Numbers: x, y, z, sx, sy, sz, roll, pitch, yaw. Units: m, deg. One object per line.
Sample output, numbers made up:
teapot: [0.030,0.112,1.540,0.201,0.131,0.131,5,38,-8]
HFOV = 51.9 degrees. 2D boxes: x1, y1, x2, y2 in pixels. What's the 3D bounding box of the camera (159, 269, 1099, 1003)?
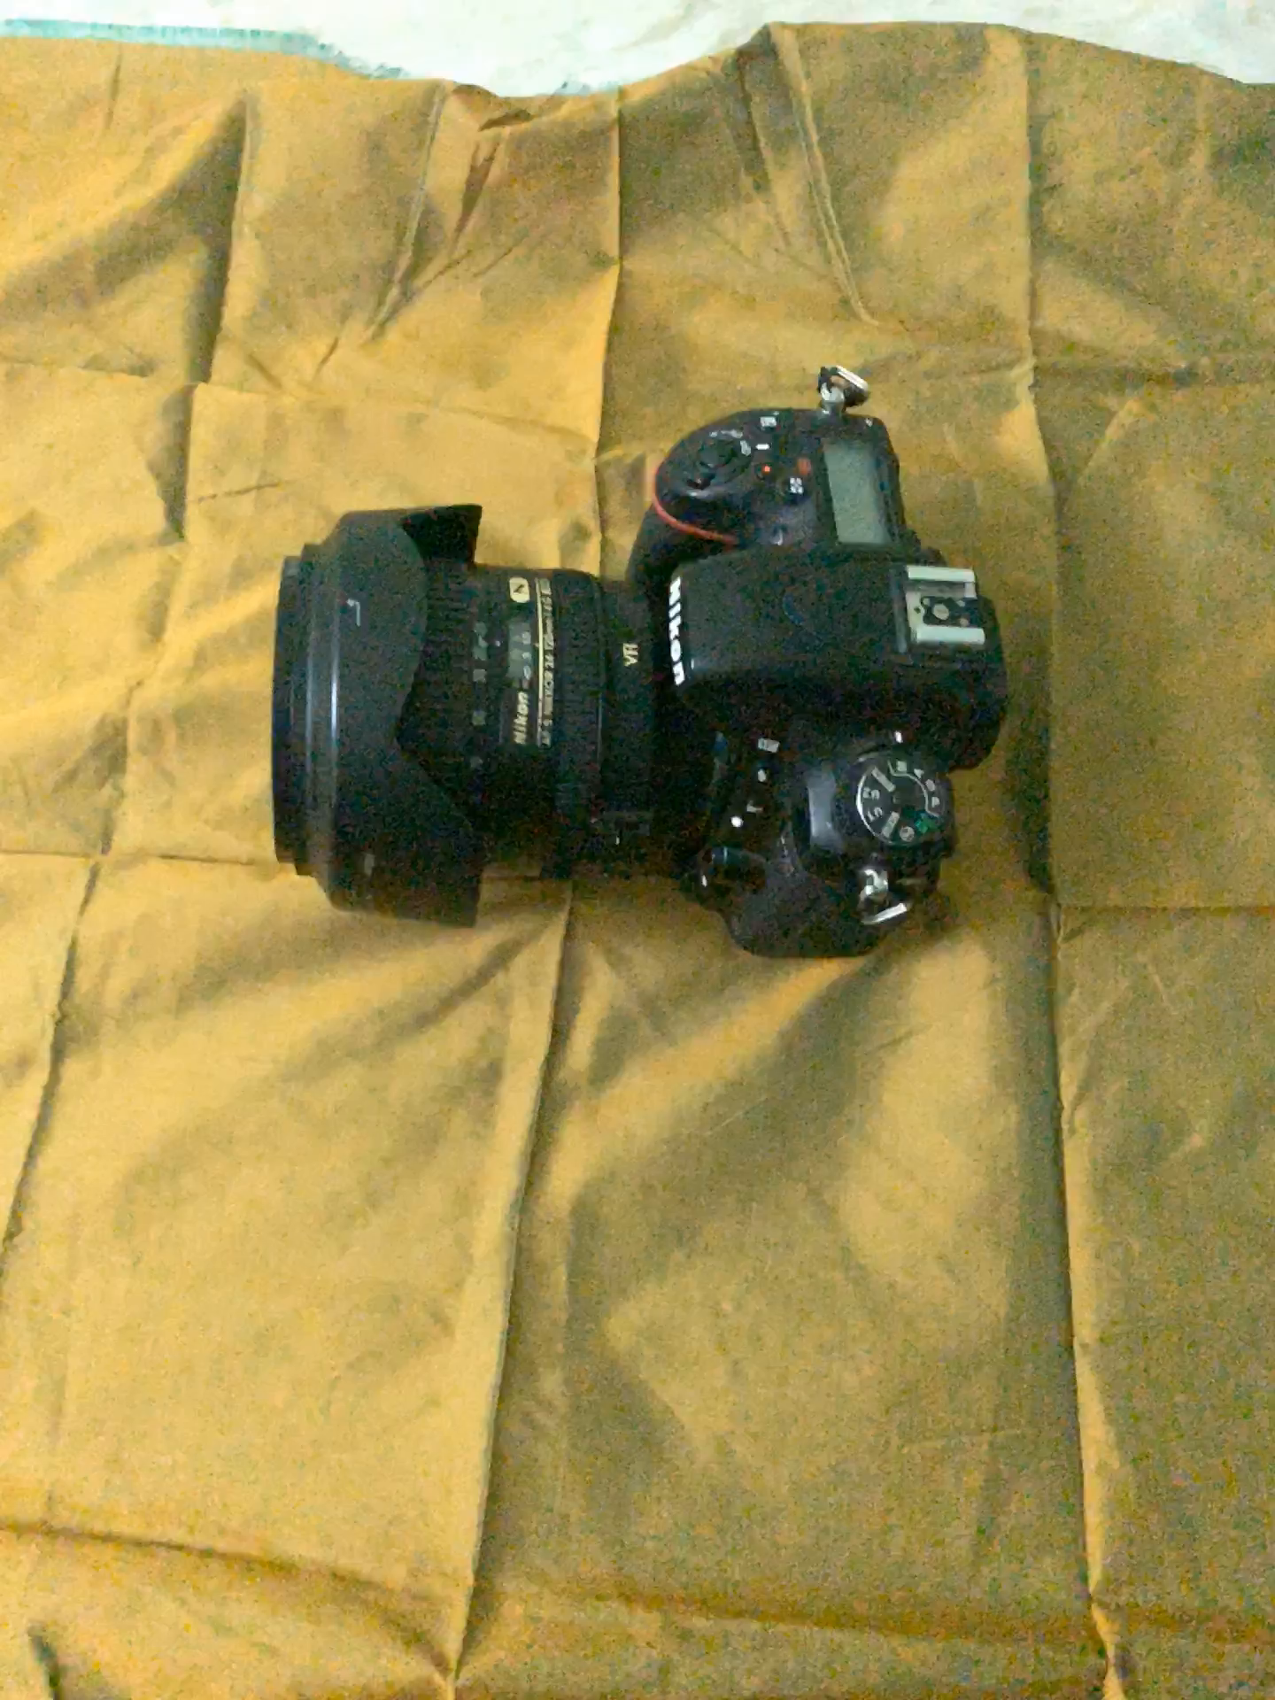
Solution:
camera: [-0.005,-0.046,0.338,0.192,0.100,0.140,3,68,-8]
